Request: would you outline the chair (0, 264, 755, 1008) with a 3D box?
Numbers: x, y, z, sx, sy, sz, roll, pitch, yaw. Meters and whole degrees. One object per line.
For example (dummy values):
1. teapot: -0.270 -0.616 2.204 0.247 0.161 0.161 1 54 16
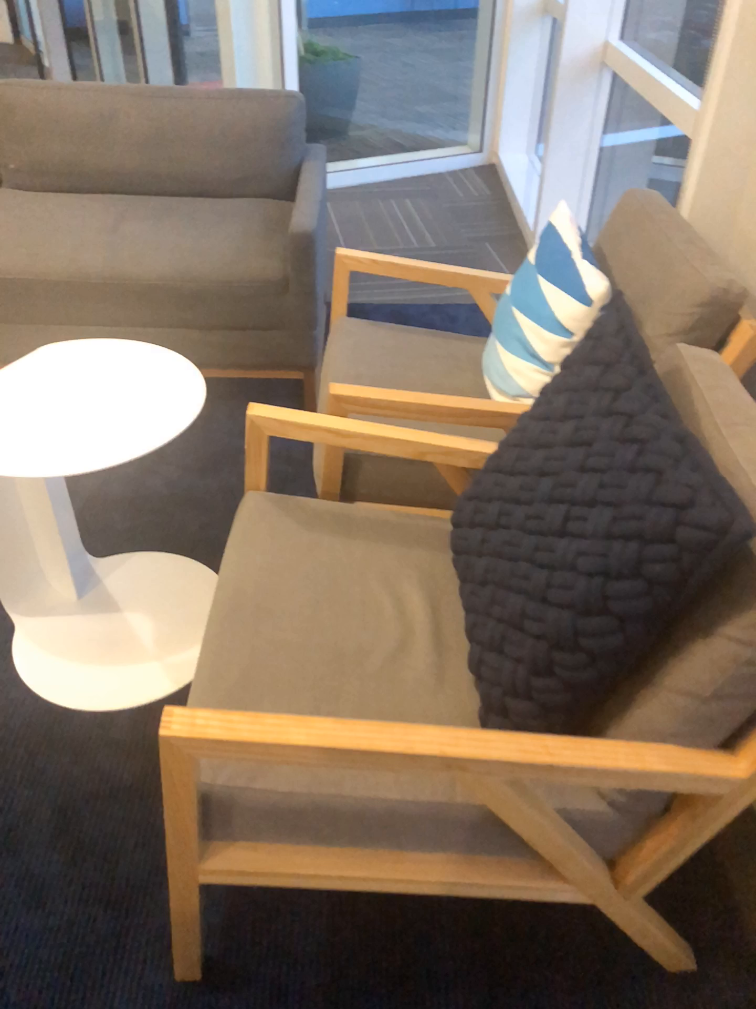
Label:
1. chair: 0.093 0.174 1.215 0.850 0.773 0.747 1 37 0
